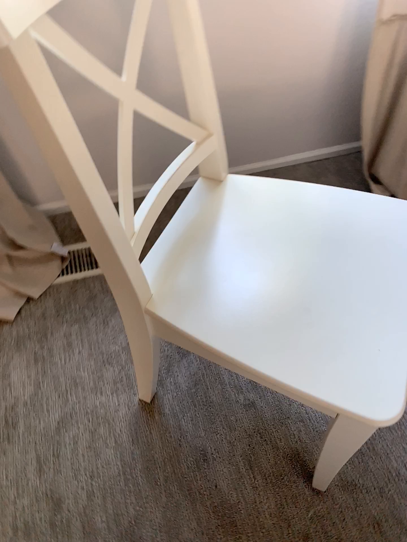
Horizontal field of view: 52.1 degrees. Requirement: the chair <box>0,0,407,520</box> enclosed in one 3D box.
[{"bbox_3d":[0.132,-0.104,0.626,0.481,0.856,0.572,18,54,16],"label":"chair"}]
